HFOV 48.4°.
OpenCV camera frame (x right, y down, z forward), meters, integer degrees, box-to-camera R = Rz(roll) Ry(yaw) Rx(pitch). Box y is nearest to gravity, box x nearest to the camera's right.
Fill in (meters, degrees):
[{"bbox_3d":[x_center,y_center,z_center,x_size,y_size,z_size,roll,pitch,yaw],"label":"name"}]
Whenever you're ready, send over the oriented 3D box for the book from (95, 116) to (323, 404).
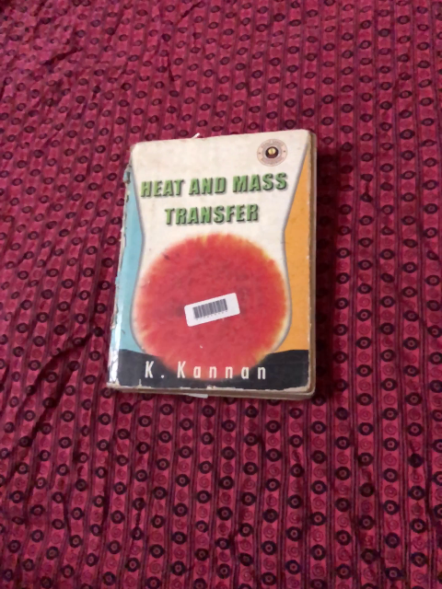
[{"bbox_3d":[-0.003,-0.035,0.443,0.185,0.039,0.249,0,73,12],"label":"book"}]
